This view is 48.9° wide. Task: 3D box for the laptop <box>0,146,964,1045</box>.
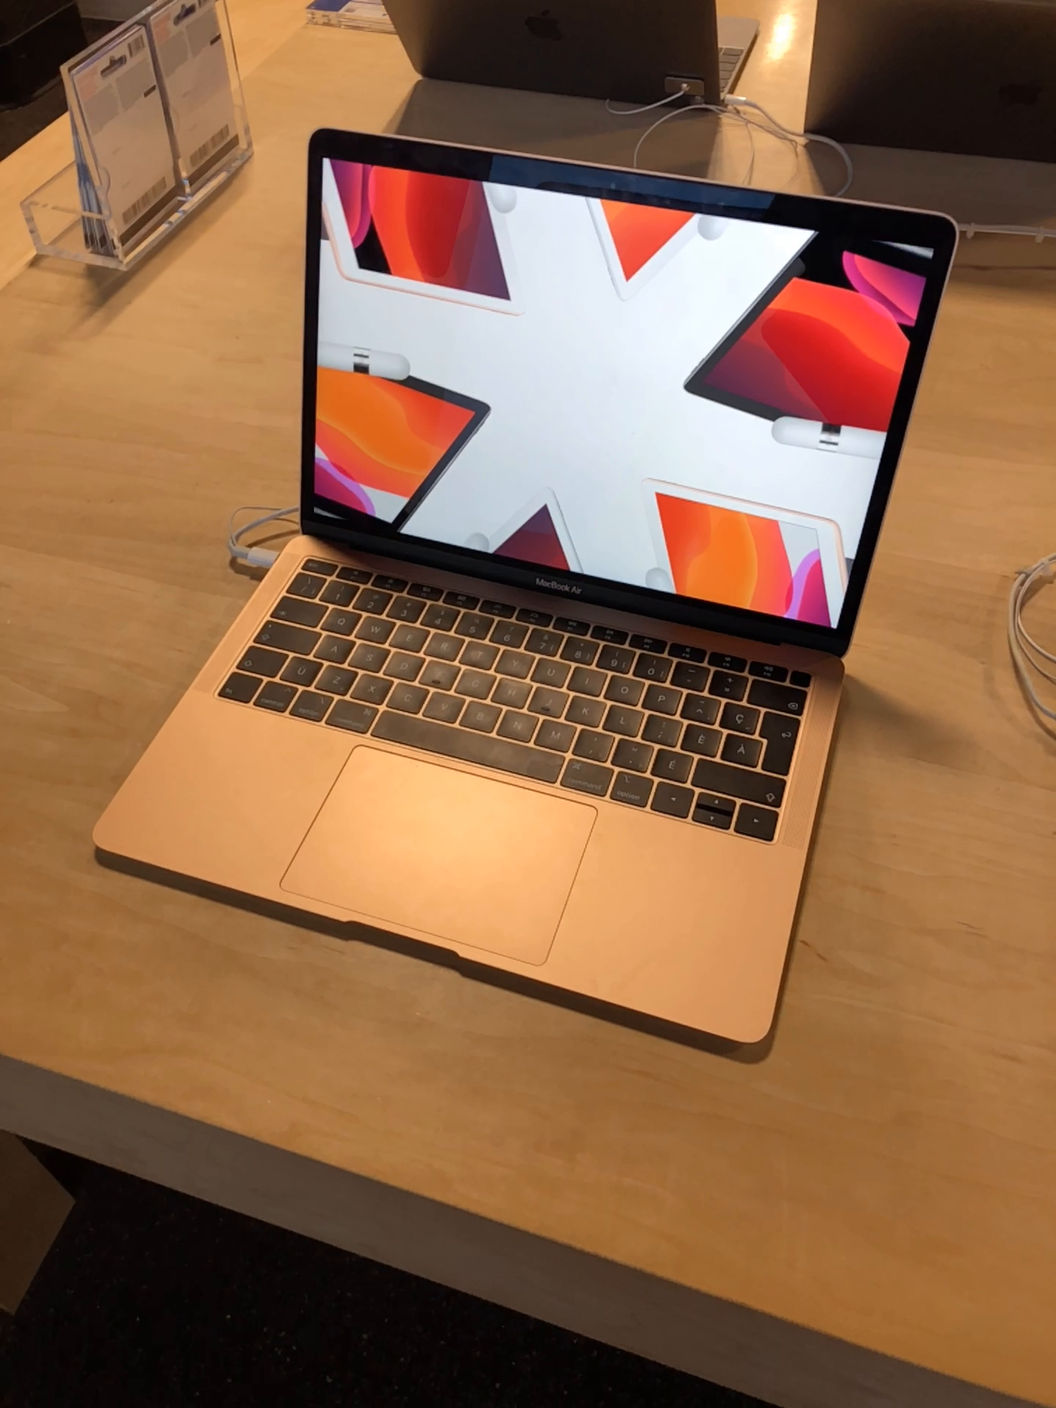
[{"bbox_3d":[-0.005,-0.067,0.491,0.291,0.183,0.284,14,50,14],"label":"laptop"}]
